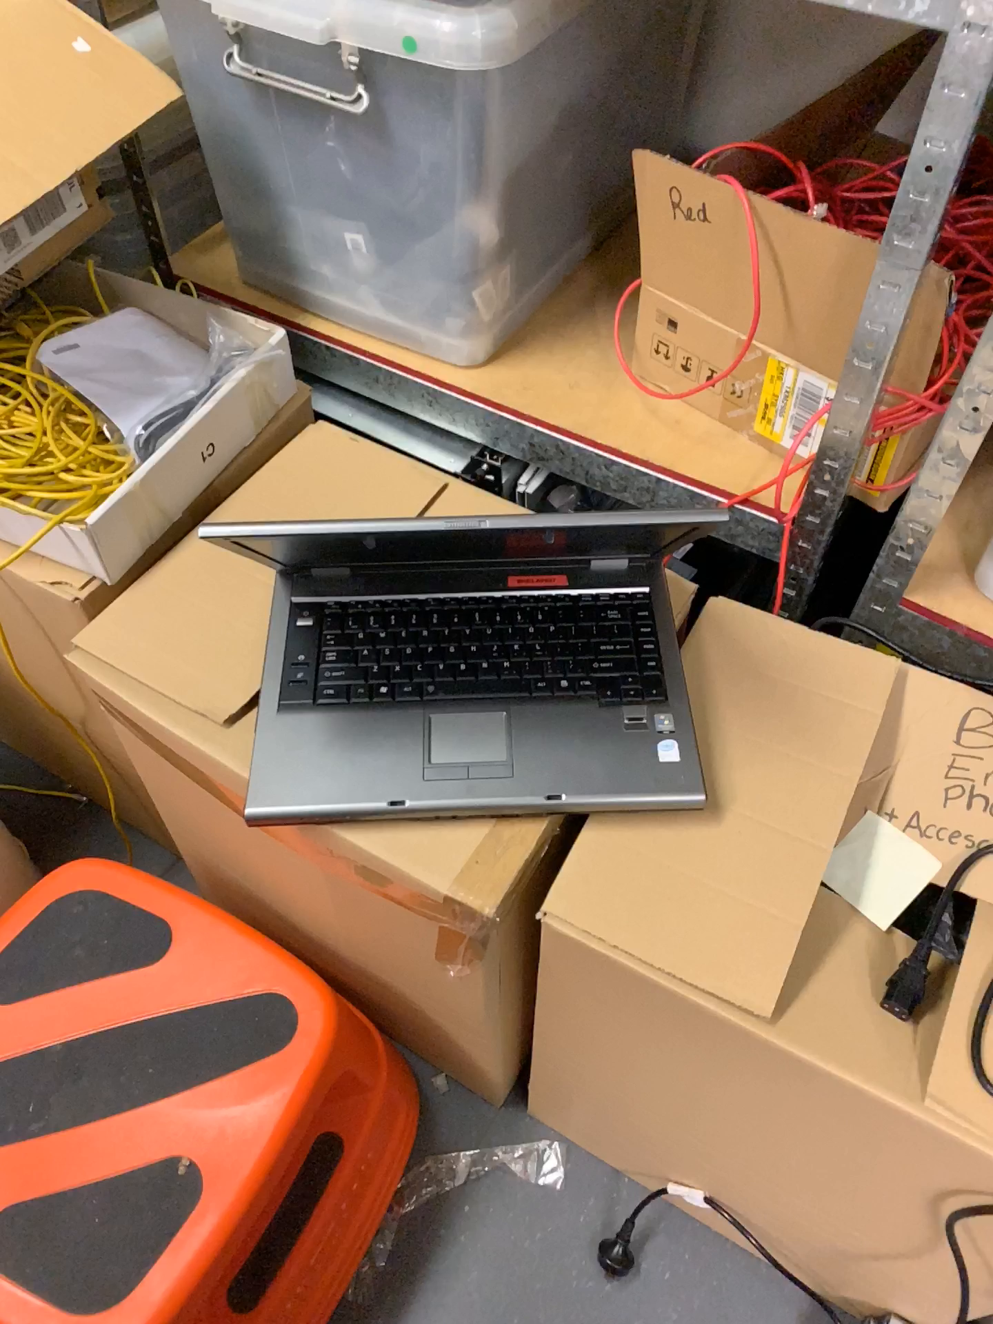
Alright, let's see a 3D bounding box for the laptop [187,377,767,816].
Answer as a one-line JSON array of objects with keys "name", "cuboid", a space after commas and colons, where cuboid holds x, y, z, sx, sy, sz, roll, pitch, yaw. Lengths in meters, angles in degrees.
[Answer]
[{"name": "laptop", "cuboid": [-0.019, -0.049, 0.773, 0.352, 0.203, 0.254, -2, 52, 0]}]
